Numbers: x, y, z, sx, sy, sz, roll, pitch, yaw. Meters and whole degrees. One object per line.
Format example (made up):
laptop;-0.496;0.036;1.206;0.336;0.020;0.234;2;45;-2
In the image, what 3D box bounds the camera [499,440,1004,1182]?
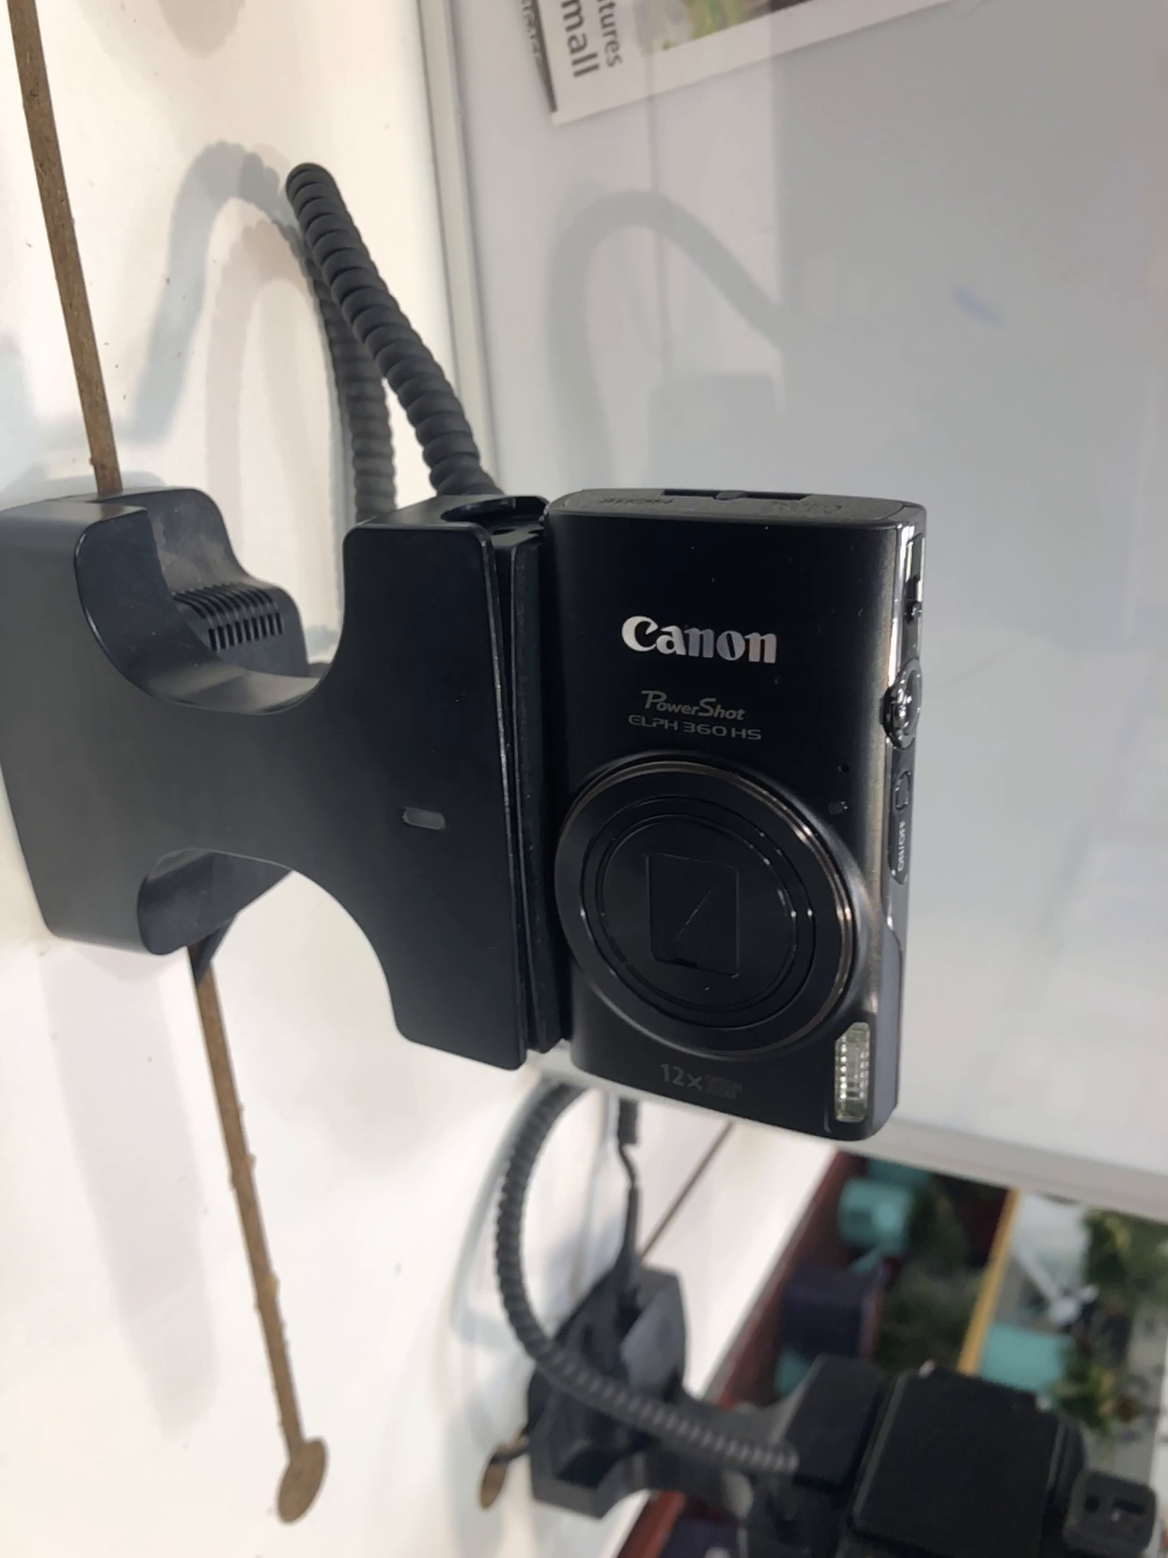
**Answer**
camera;0.028;0.003;0.216;0.030;0.070;0.110;-33;124;-57
